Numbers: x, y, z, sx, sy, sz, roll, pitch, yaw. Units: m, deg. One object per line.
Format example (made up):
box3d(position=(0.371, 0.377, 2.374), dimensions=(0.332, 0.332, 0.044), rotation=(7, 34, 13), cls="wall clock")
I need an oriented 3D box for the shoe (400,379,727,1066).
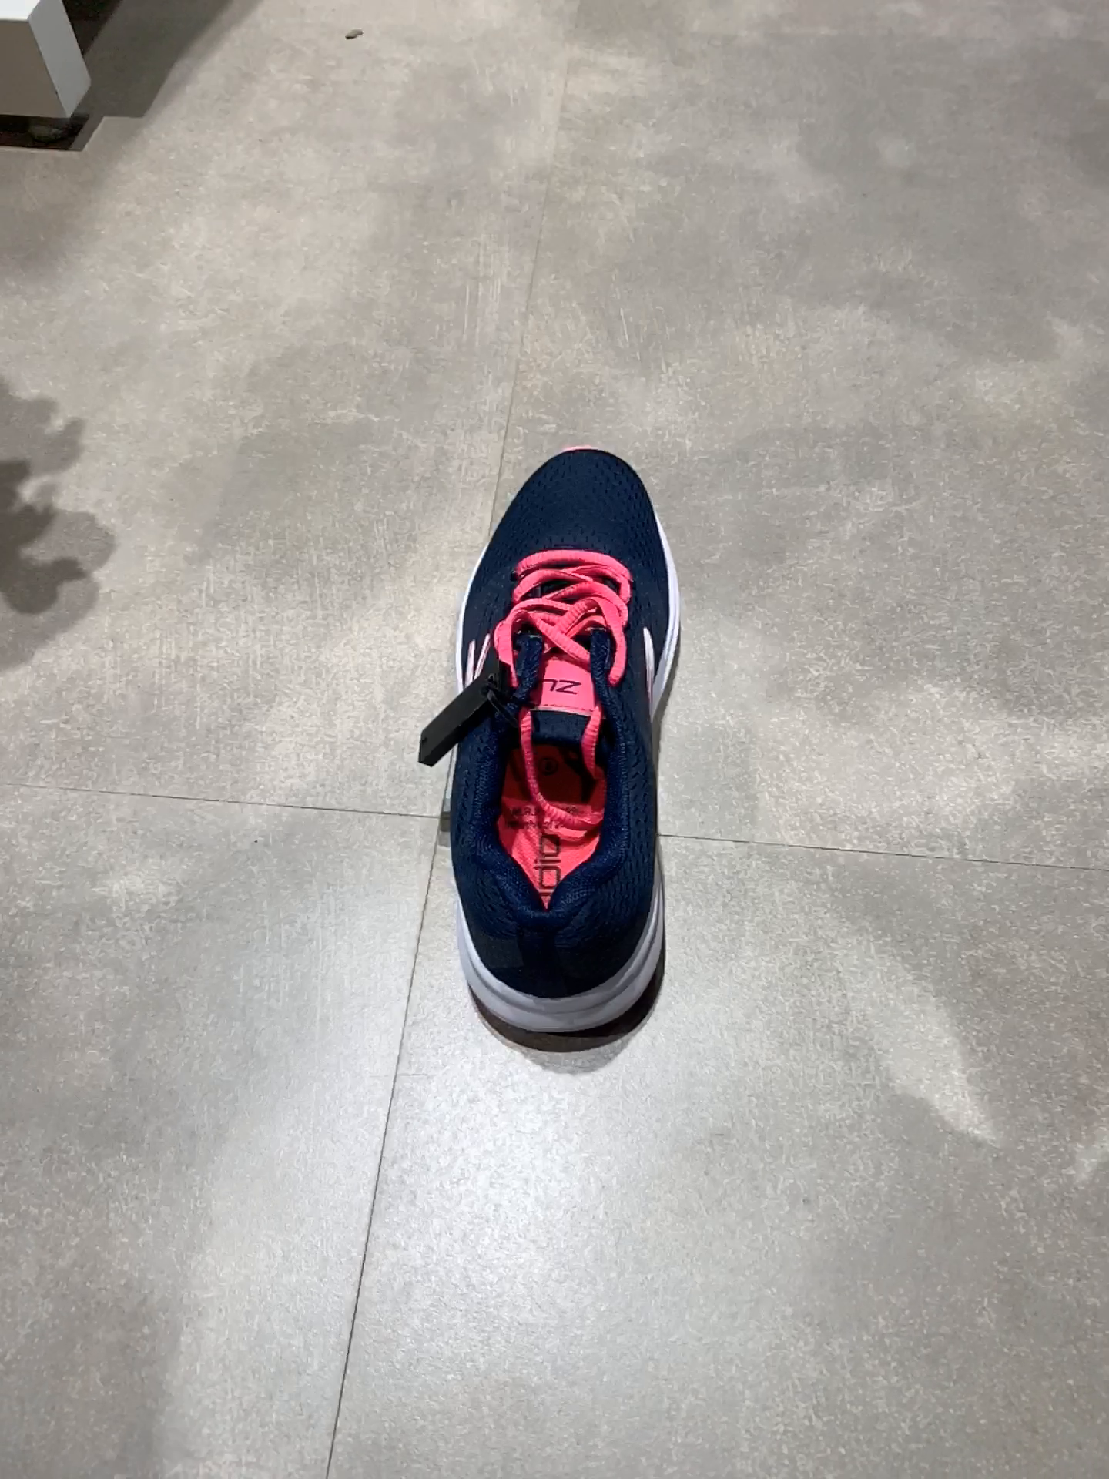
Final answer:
box3d(position=(0.008, -0.015, 0.430), dimensions=(0.094, 0.090, 0.248), rotation=(1, 59, 2), cls="shoe")
